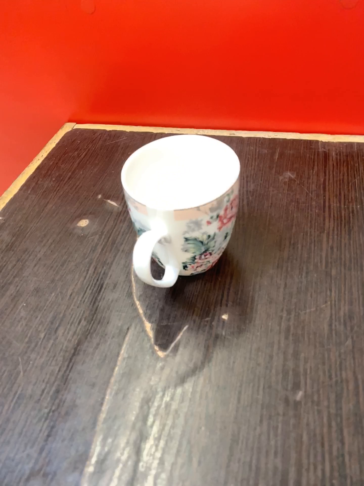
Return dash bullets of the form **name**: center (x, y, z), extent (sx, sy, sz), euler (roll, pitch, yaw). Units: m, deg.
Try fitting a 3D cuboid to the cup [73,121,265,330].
- **cup**: center (0.001, -0.018, 0.250), extent (0.080, 0.070, 0.110), euler (13, 49, 18)
